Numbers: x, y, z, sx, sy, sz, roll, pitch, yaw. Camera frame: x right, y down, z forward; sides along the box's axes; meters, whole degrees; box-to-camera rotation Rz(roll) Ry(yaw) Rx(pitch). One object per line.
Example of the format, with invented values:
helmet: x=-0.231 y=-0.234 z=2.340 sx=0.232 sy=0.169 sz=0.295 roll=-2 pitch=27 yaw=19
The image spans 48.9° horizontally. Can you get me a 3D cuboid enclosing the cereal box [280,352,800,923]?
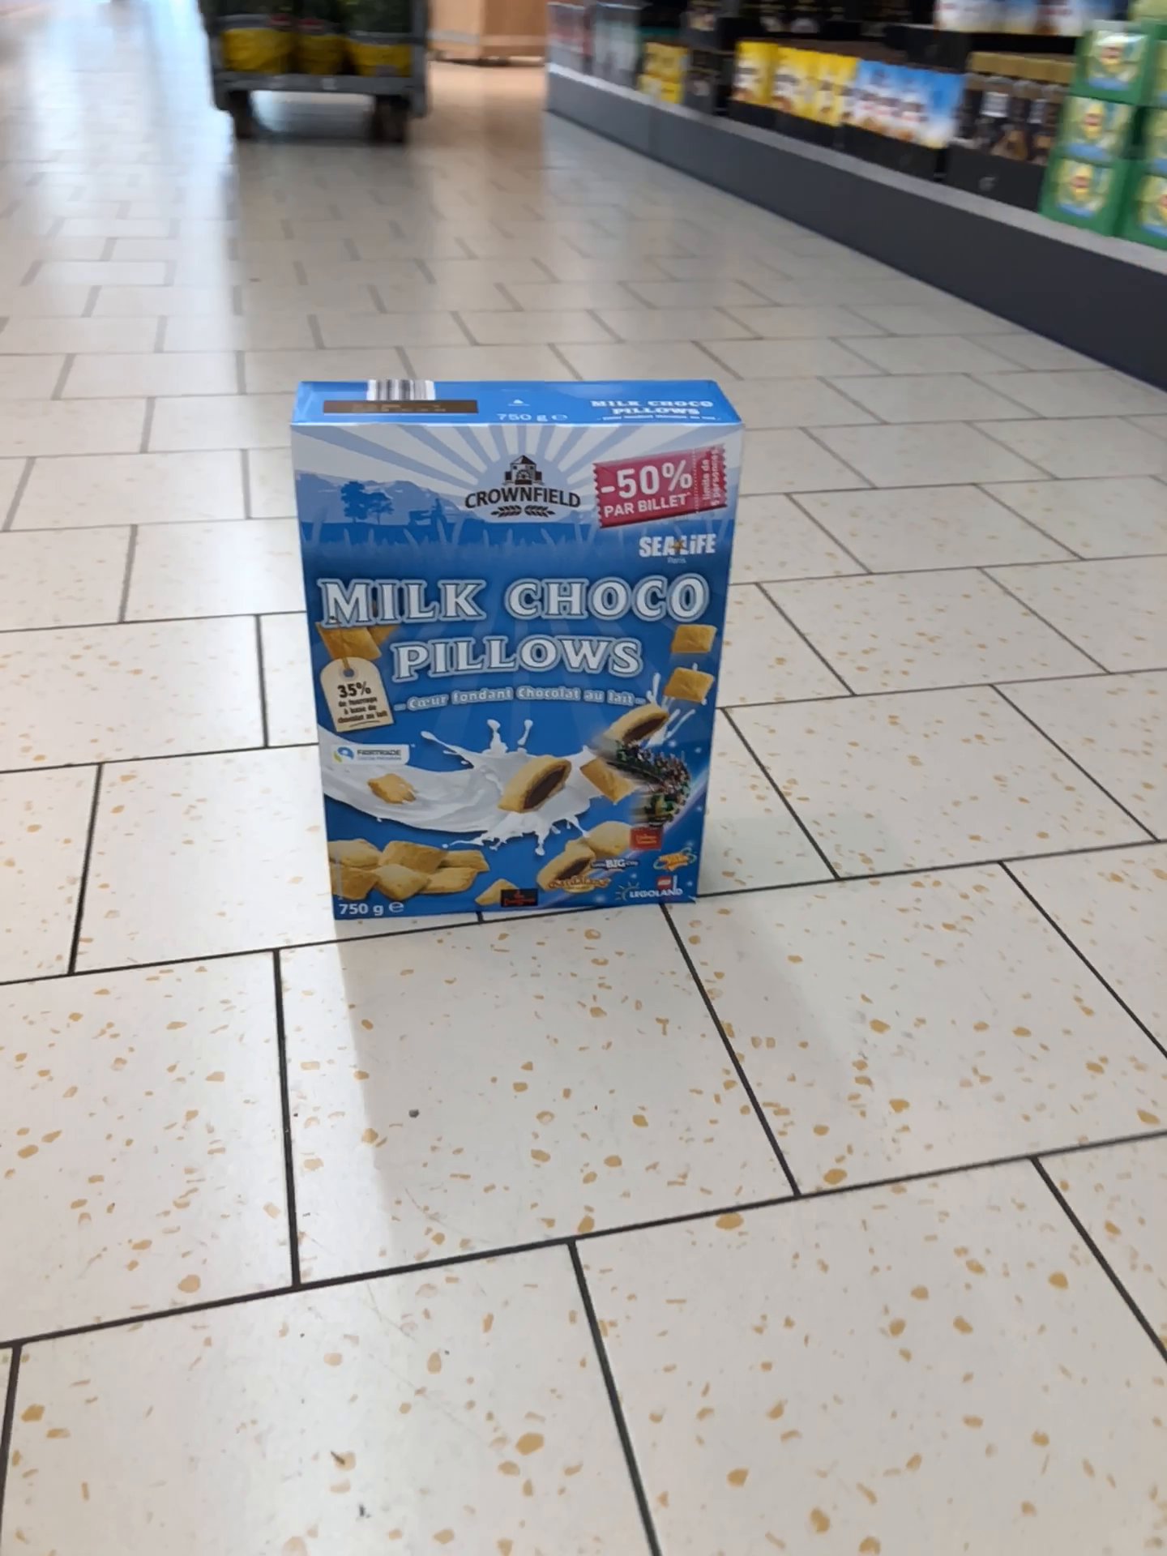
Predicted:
cereal box: x=-0.023 y=-0.061 z=0.618 sx=0.210 sy=0.258 sz=0.080 roll=-1 pitch=31 yaw=-6
